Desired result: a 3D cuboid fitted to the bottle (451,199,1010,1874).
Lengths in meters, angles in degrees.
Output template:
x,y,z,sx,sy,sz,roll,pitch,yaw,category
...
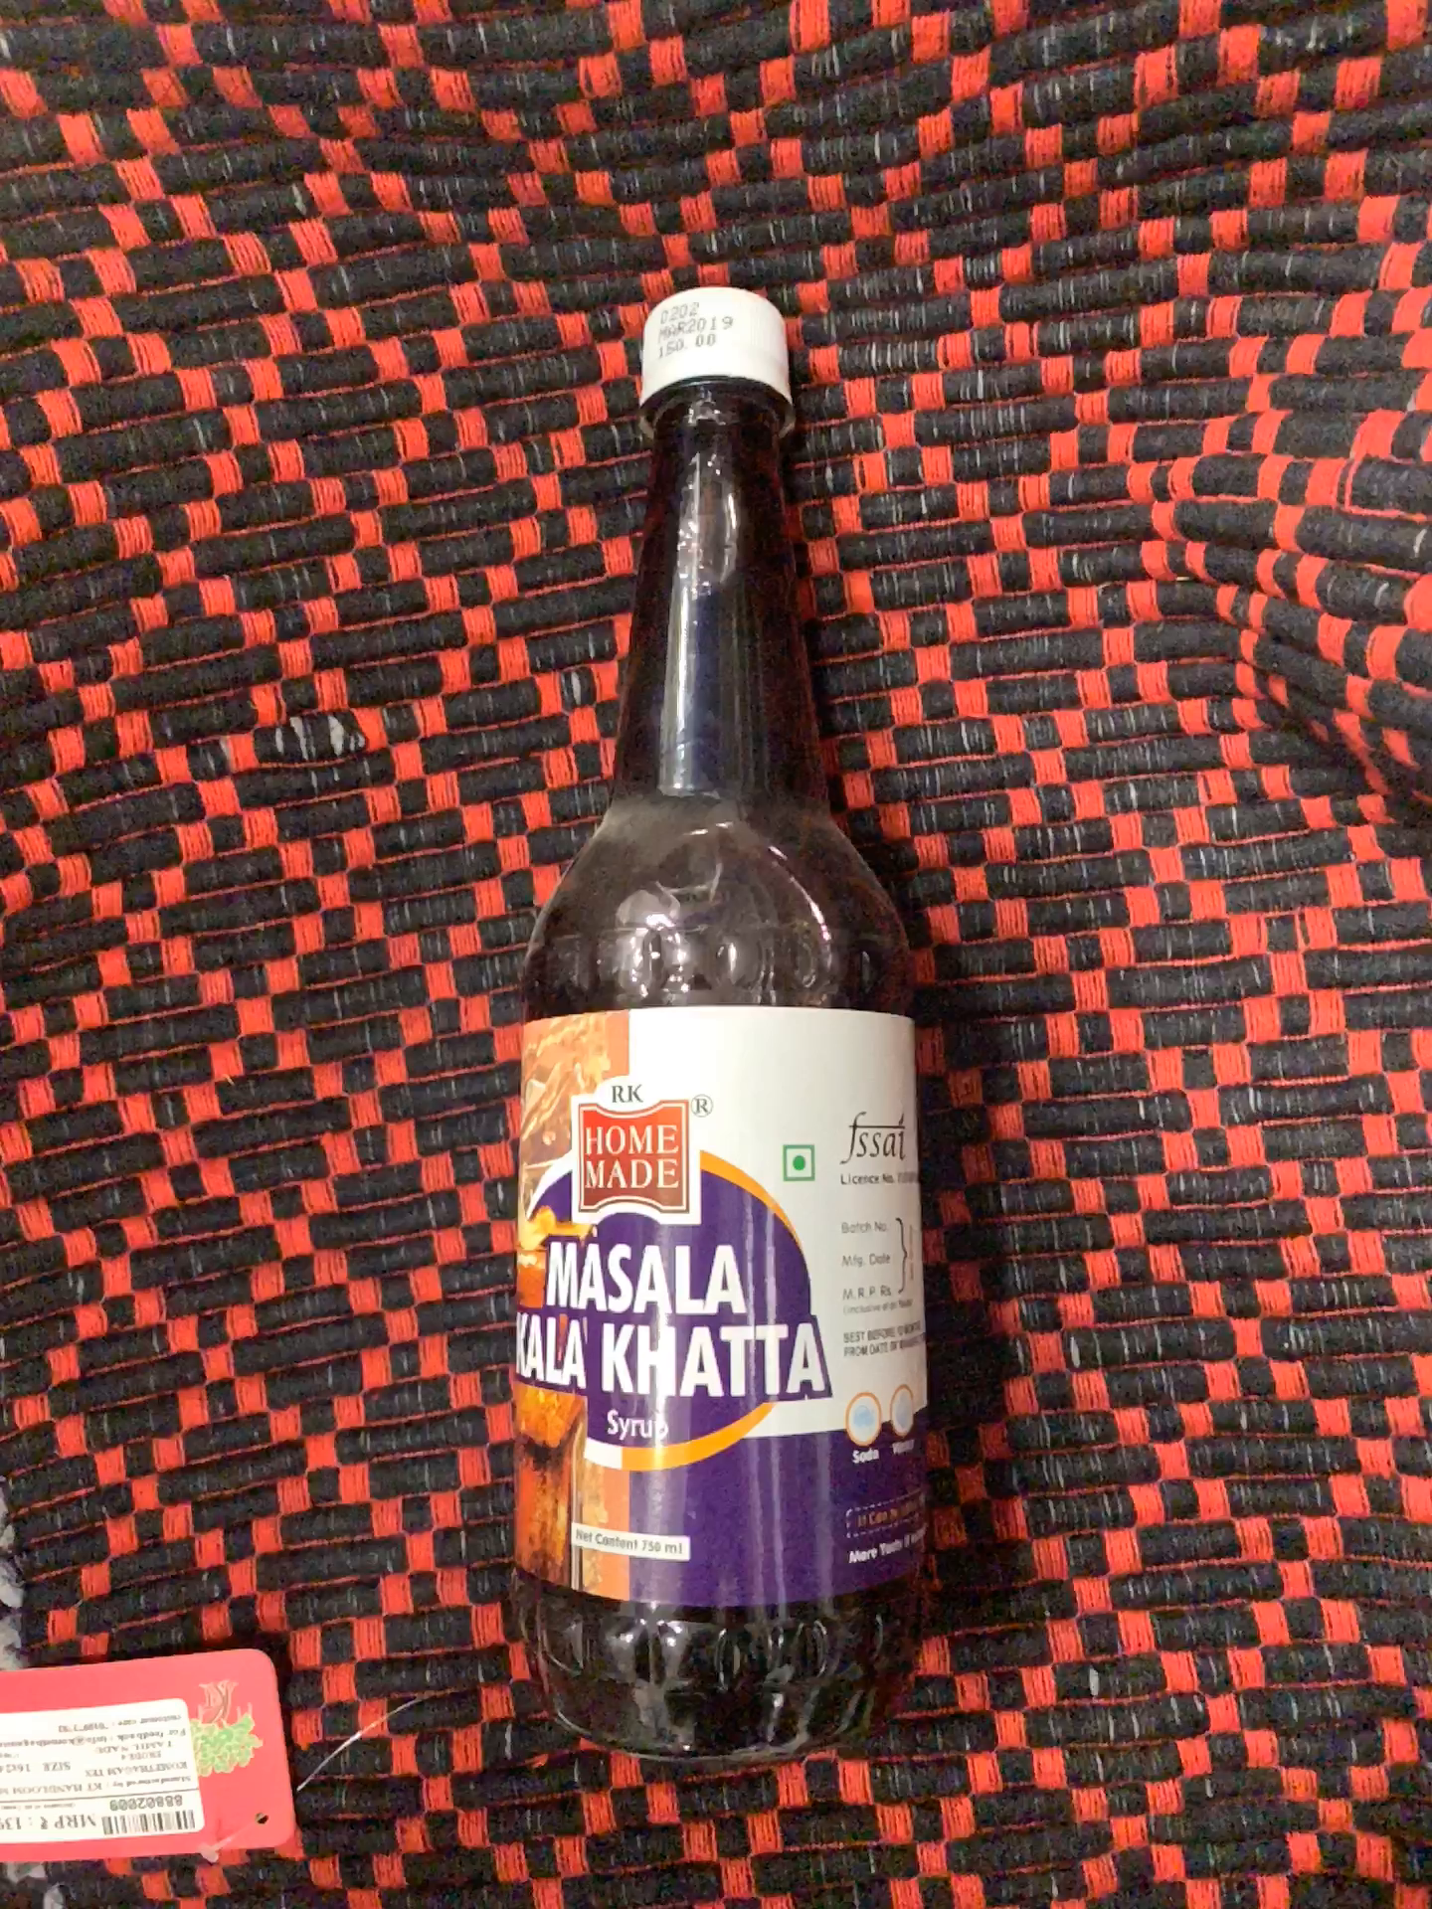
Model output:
x,y,z,sx,sy,sz,roll,pitch,yaw,category
0.006,0.008,0.275,0.080,0.080,0.260,-3,79,12,bottle
